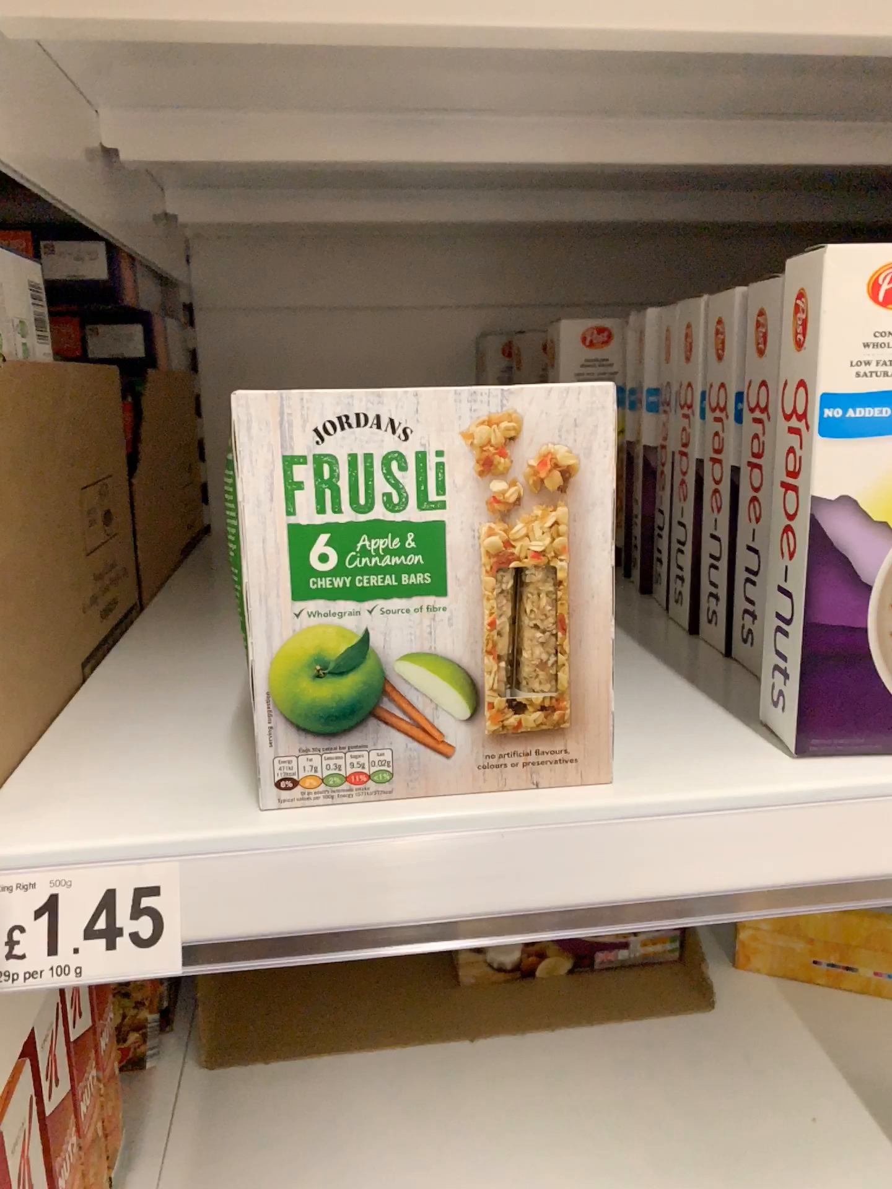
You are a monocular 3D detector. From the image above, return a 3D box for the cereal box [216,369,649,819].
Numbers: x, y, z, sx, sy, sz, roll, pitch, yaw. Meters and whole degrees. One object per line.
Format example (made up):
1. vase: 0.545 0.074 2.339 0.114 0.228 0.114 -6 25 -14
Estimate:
1. cereal box: -0.004 -0.004 0.358 0.150 0.159 0.050 -3 12 -7
